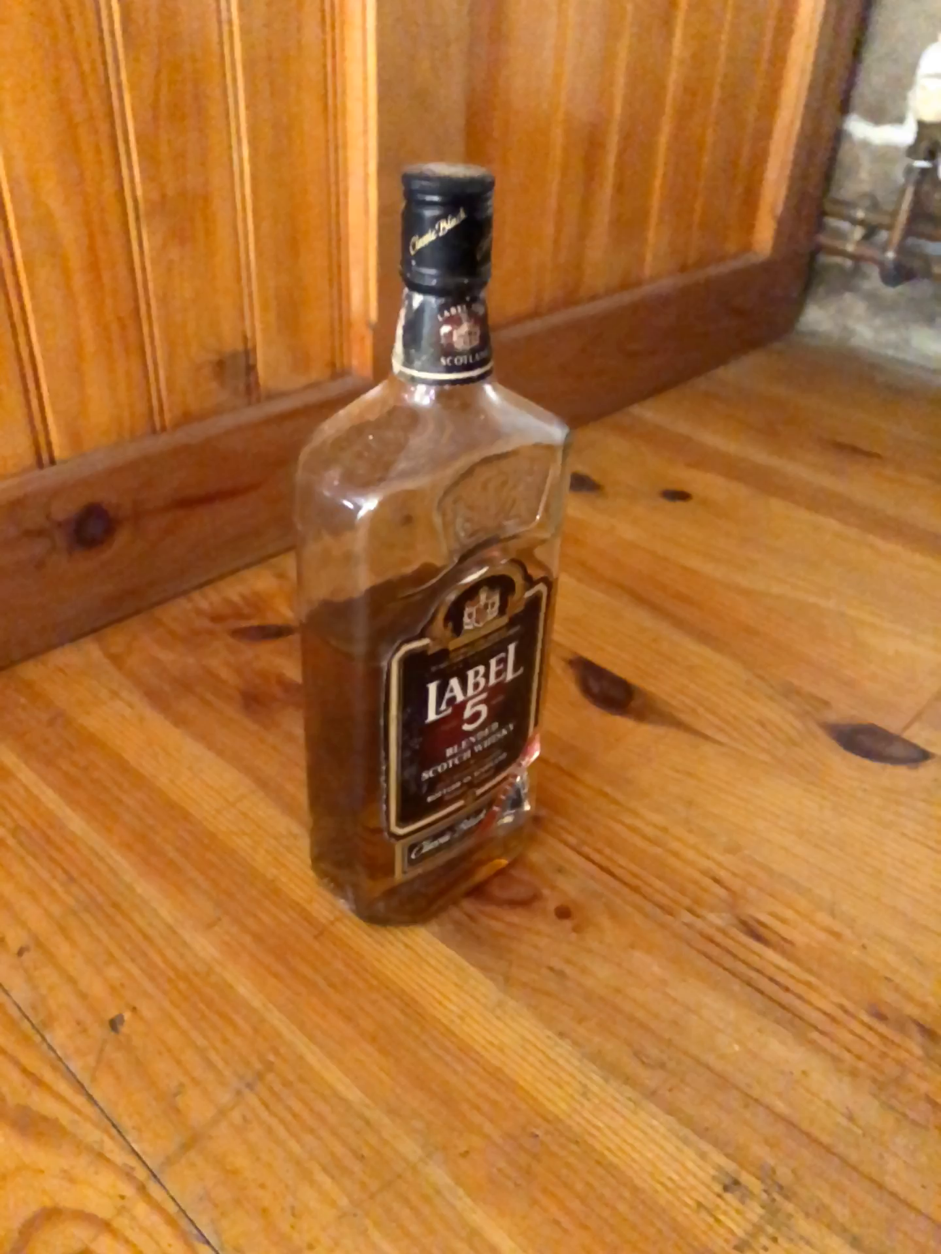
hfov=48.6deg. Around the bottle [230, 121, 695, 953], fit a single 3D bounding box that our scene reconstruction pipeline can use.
[{"bbox_3d":[-0.008,-0.026,0.401,0.121,0.288,0.080,-25,43,-35],"label":"bottle"}]
